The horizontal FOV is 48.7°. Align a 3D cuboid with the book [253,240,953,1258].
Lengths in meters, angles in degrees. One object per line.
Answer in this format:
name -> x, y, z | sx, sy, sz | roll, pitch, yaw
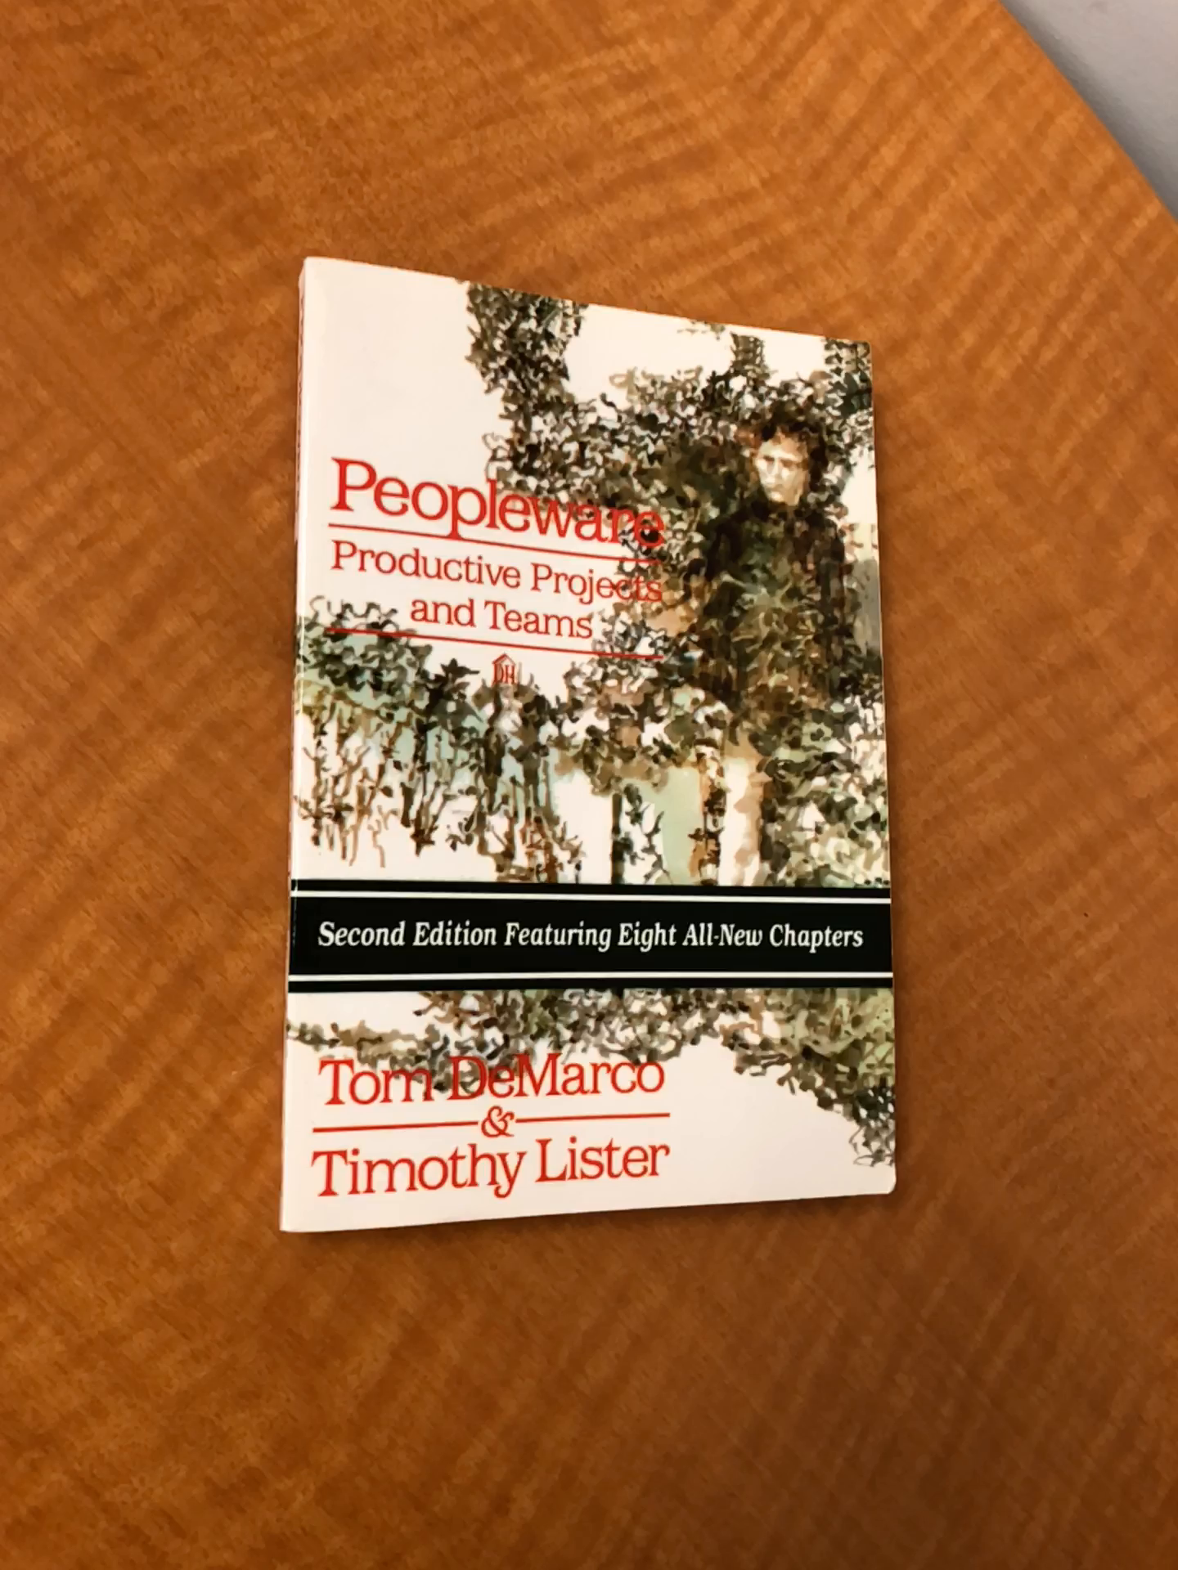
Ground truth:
book -> 0.003, -0.008, 0.327 | 0.160, 0.050, 0.220 | 2, 82, -19
